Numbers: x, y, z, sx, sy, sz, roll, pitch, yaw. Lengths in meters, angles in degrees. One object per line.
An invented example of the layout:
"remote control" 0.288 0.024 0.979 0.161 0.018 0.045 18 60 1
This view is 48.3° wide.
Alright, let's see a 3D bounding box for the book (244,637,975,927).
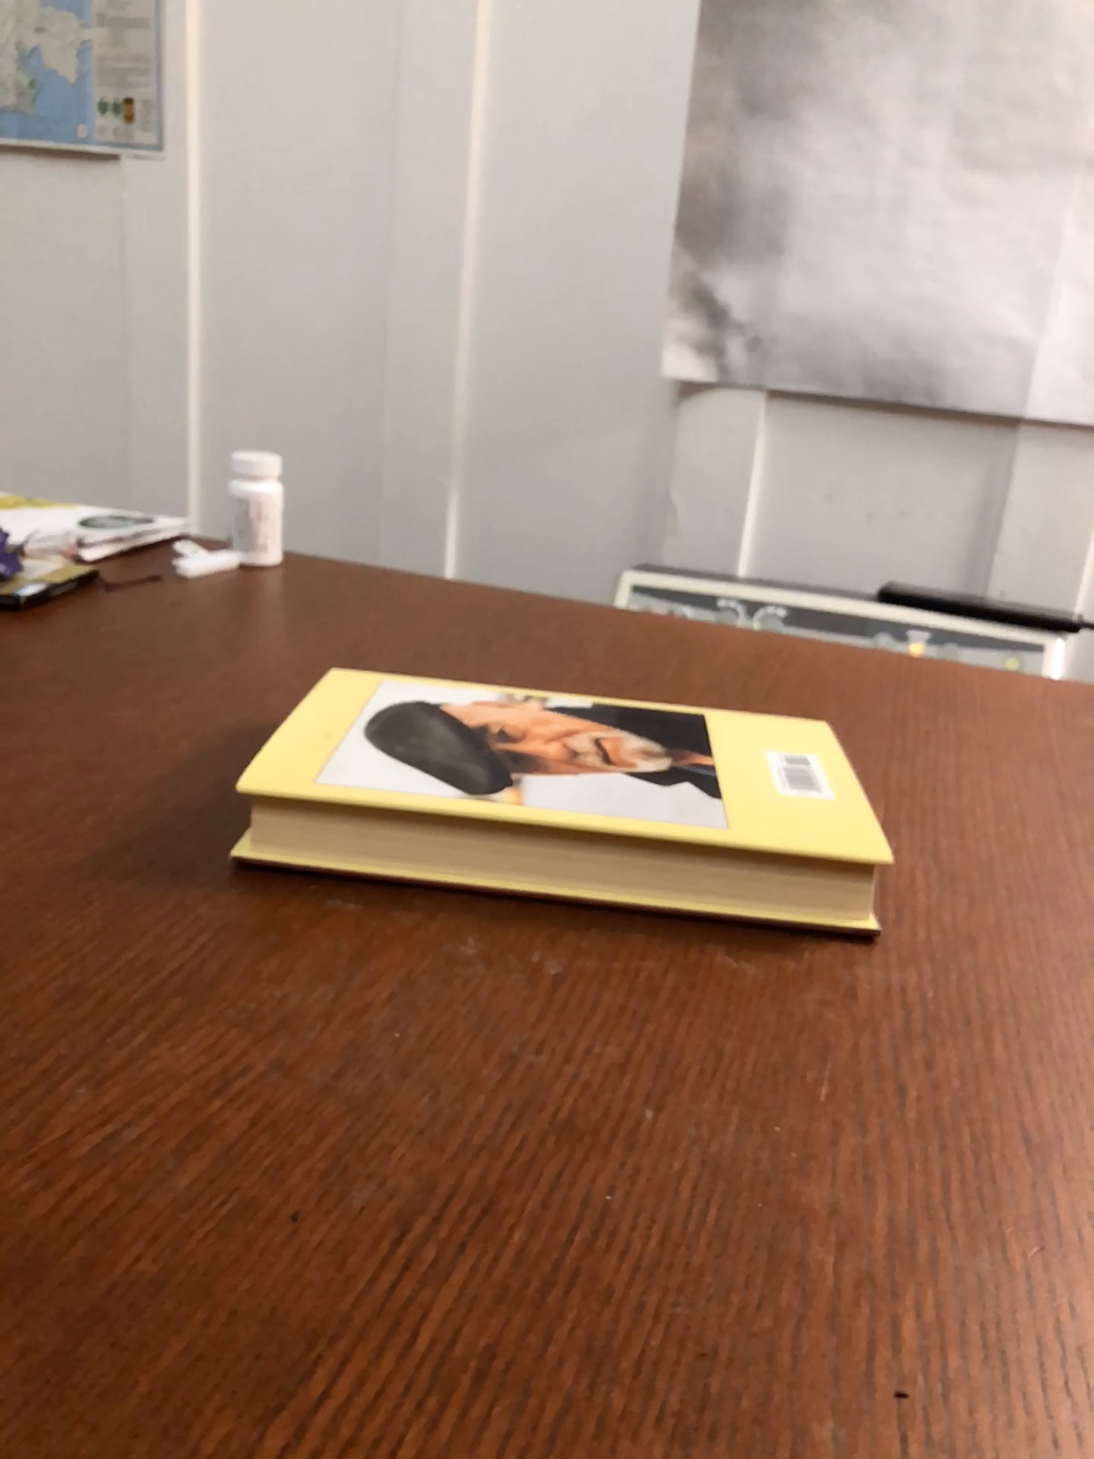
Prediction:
"book" 0.025 0.011 0.510 0.250 0.030 0.191 5 19 2
